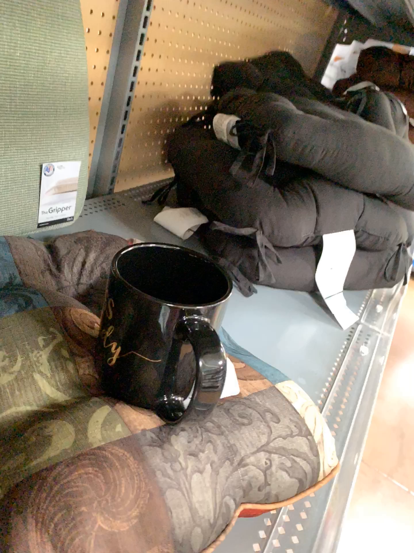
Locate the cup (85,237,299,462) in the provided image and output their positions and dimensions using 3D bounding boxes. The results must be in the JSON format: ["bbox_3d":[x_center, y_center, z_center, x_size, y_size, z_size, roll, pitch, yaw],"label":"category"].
[{"bbox_3d":[-0.023,0.044,0.326,0.100,0.100,0.130,1,26,-30],"label":"cup"}]
